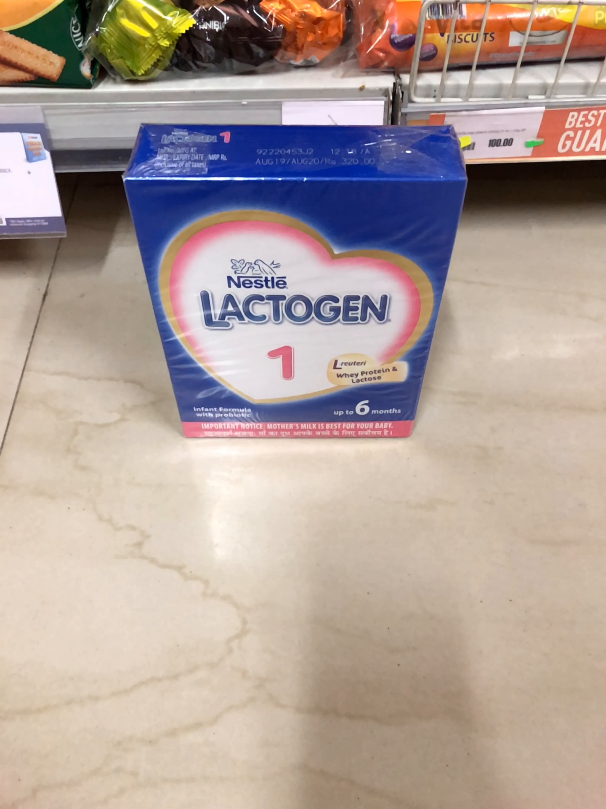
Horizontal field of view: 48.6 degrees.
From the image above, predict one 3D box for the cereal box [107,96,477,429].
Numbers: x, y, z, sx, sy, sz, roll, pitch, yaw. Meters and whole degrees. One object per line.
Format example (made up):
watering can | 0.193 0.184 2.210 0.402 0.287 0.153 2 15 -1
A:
cereal box | -0.006 -0.062 0.363 0.150 0.189 0.050 0 53 -1
